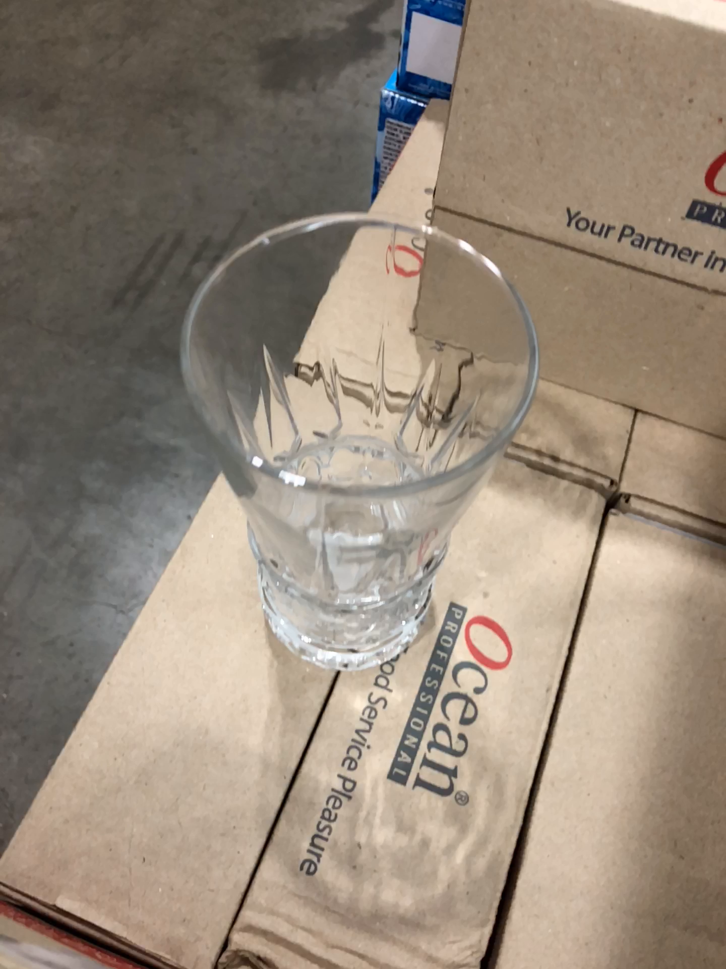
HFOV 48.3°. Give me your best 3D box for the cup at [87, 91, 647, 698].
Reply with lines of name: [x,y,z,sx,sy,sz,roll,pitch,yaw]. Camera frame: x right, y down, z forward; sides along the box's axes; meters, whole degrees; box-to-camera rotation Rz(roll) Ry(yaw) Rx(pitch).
cup: [-0.008,-0.018,0.233,0.100,0.130,0.100,2,59,-3]
